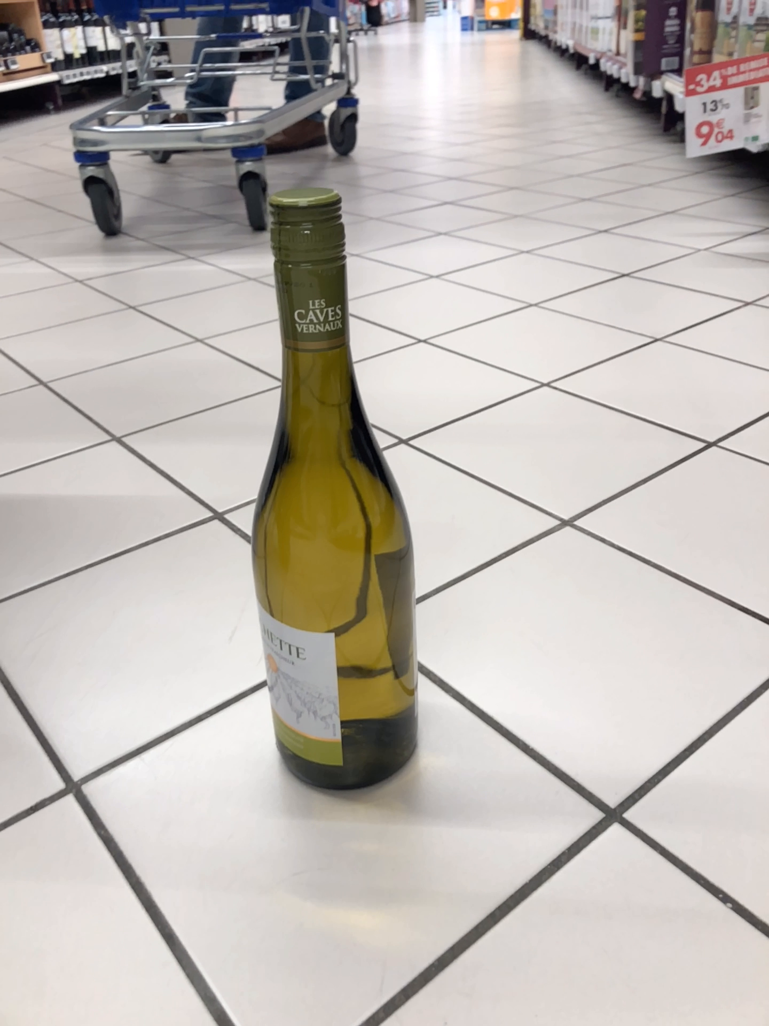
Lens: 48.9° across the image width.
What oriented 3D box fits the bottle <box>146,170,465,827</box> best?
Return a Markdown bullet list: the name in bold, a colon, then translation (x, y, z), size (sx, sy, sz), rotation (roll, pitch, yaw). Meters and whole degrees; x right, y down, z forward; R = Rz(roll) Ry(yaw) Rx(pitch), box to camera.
- **bottle**: translation (-0.027, -0.001, 0.394), size (0.090, 0.278, 0.090), rotation (-2, 30, 1)
